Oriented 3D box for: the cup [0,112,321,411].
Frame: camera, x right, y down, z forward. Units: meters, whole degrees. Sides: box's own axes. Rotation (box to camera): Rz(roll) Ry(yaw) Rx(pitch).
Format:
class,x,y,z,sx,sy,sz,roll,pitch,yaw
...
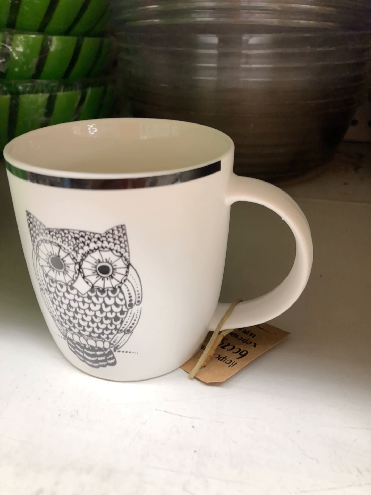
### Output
class,x,y,z,sx,sy,sz,roll,pitch,yaw
cup,-0.012,-0.001,0.176,0.110,0.093,0.078,4,28,7
